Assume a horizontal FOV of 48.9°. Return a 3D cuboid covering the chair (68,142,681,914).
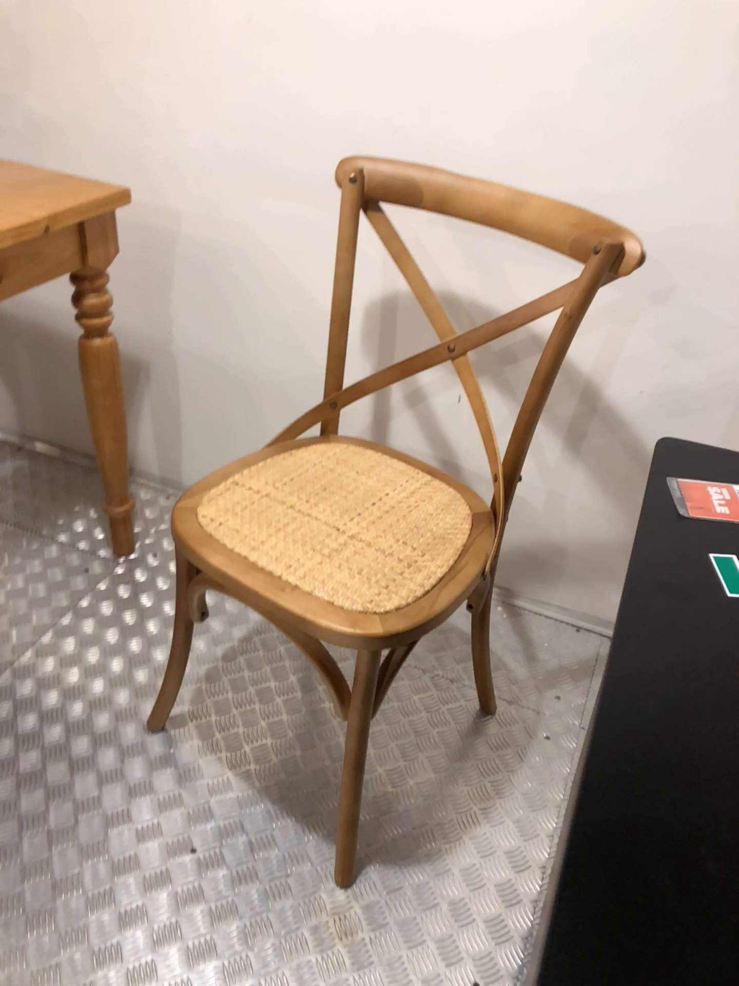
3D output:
[{"bbox_3d":[-0.003,0.023,1.209,0.501,0.873,0.543,28,40,30],"label":"chair"}]
